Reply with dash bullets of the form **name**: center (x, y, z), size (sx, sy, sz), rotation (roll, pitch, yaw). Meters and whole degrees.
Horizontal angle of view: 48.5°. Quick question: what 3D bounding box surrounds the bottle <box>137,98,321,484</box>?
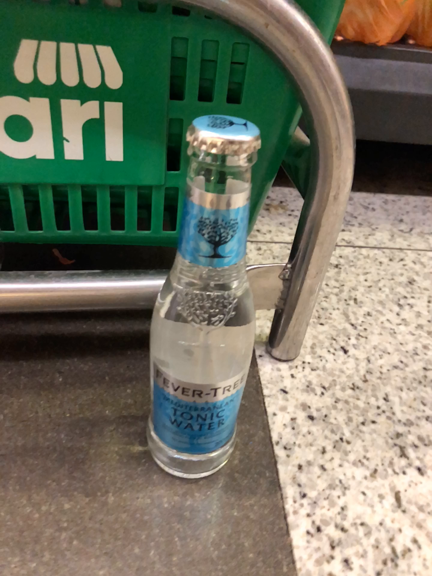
- **bottle**: center (-0.007, 0.015, 0.231), size (0.060, 0.188, 0.050), rotation (0, 36, -10)
